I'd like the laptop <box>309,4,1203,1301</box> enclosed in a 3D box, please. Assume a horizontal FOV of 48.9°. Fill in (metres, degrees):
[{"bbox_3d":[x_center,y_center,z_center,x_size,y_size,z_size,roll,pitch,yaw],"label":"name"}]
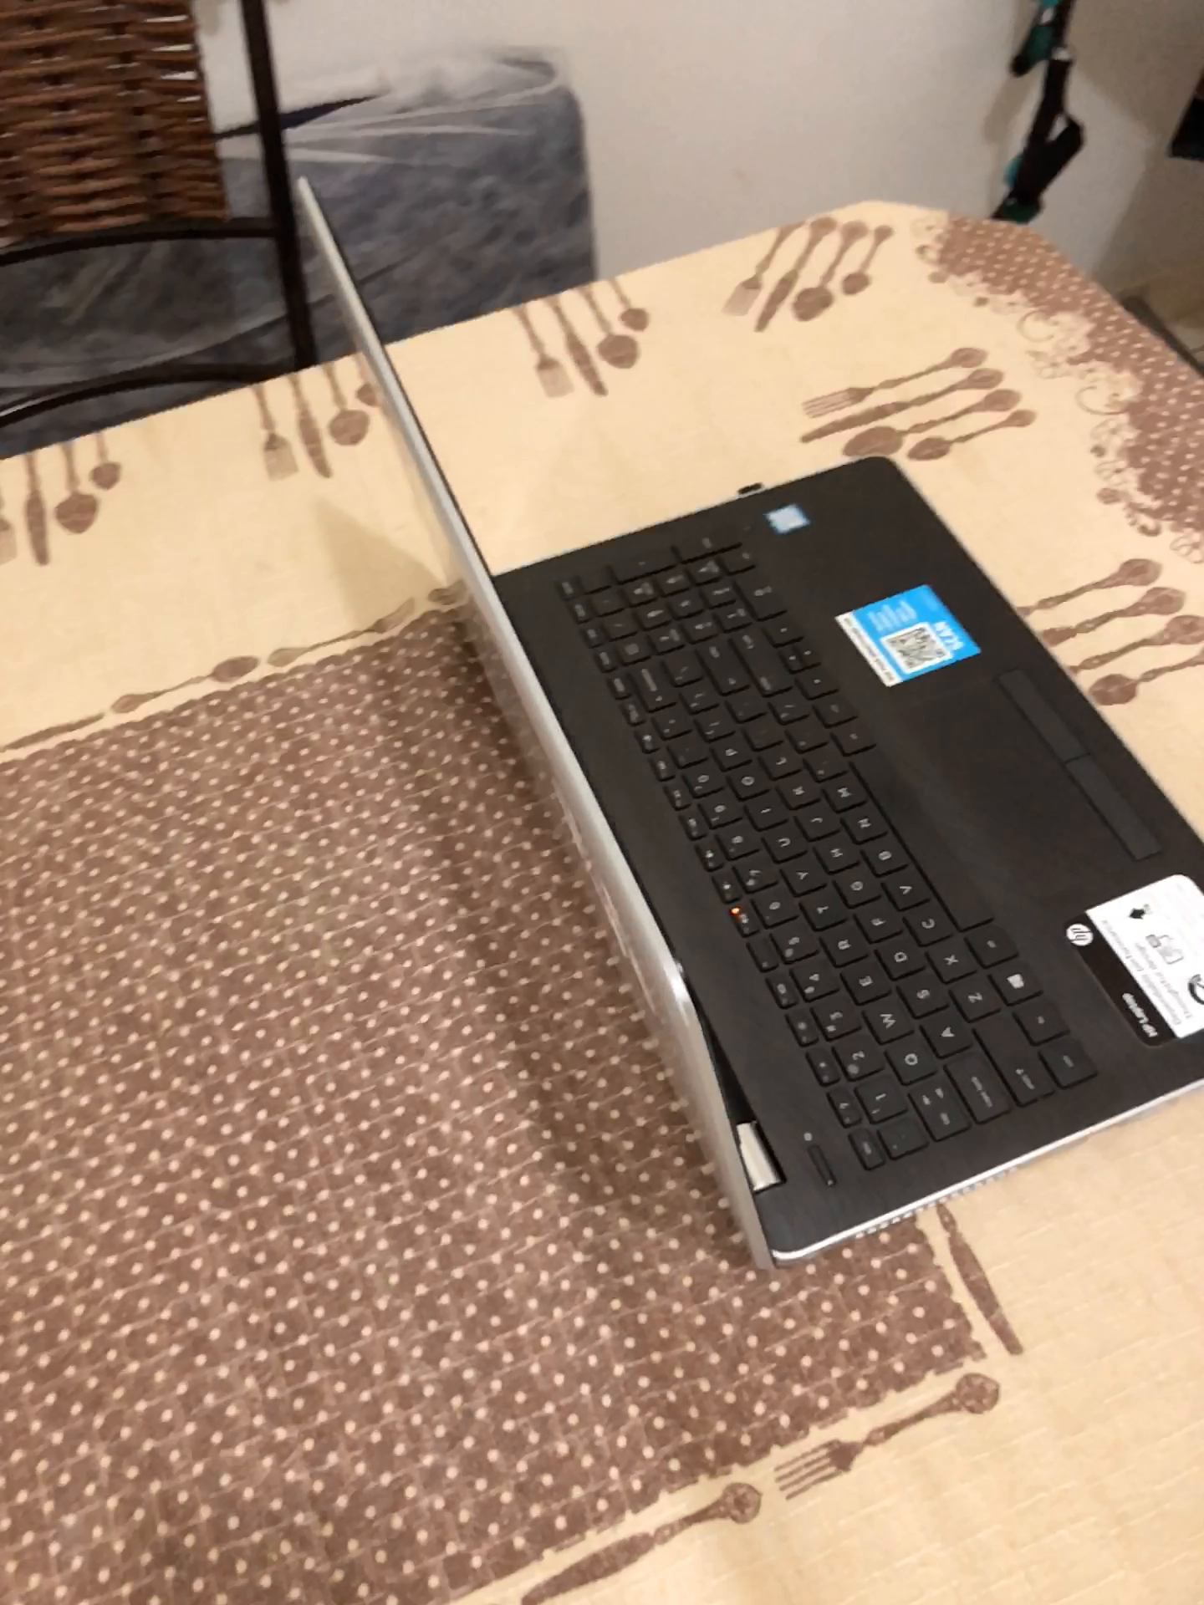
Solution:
[{"bbox_3d":[0.087,-0.073,0.495,0.267,0.226,0.361,-20,55,-9],"label":"laptop"}]
